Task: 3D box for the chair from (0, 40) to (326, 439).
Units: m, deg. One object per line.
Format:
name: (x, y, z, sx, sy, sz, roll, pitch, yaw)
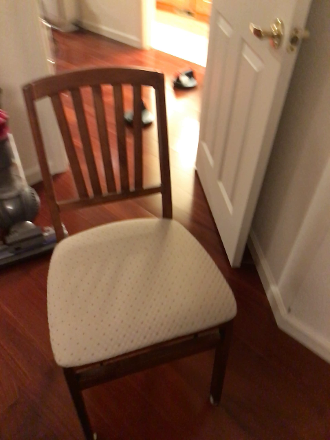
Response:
chair: (-0.095, 0.110, 0.959, 0.501, 0.923, 0.563, -11, 43, -13)
